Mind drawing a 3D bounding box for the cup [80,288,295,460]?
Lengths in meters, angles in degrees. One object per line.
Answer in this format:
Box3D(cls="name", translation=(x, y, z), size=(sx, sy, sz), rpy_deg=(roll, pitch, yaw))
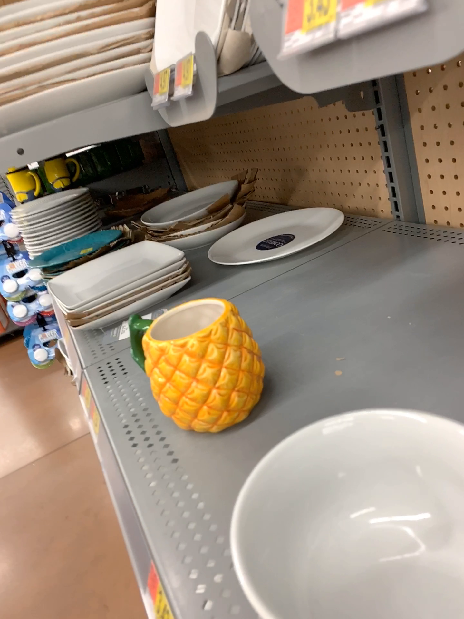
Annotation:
Box3D(cls="cup", translation=(-0.044, 0.050, 0.453), size=(0.161, 0.099, 0.100), rpy_deg=(5, 33, 43))
